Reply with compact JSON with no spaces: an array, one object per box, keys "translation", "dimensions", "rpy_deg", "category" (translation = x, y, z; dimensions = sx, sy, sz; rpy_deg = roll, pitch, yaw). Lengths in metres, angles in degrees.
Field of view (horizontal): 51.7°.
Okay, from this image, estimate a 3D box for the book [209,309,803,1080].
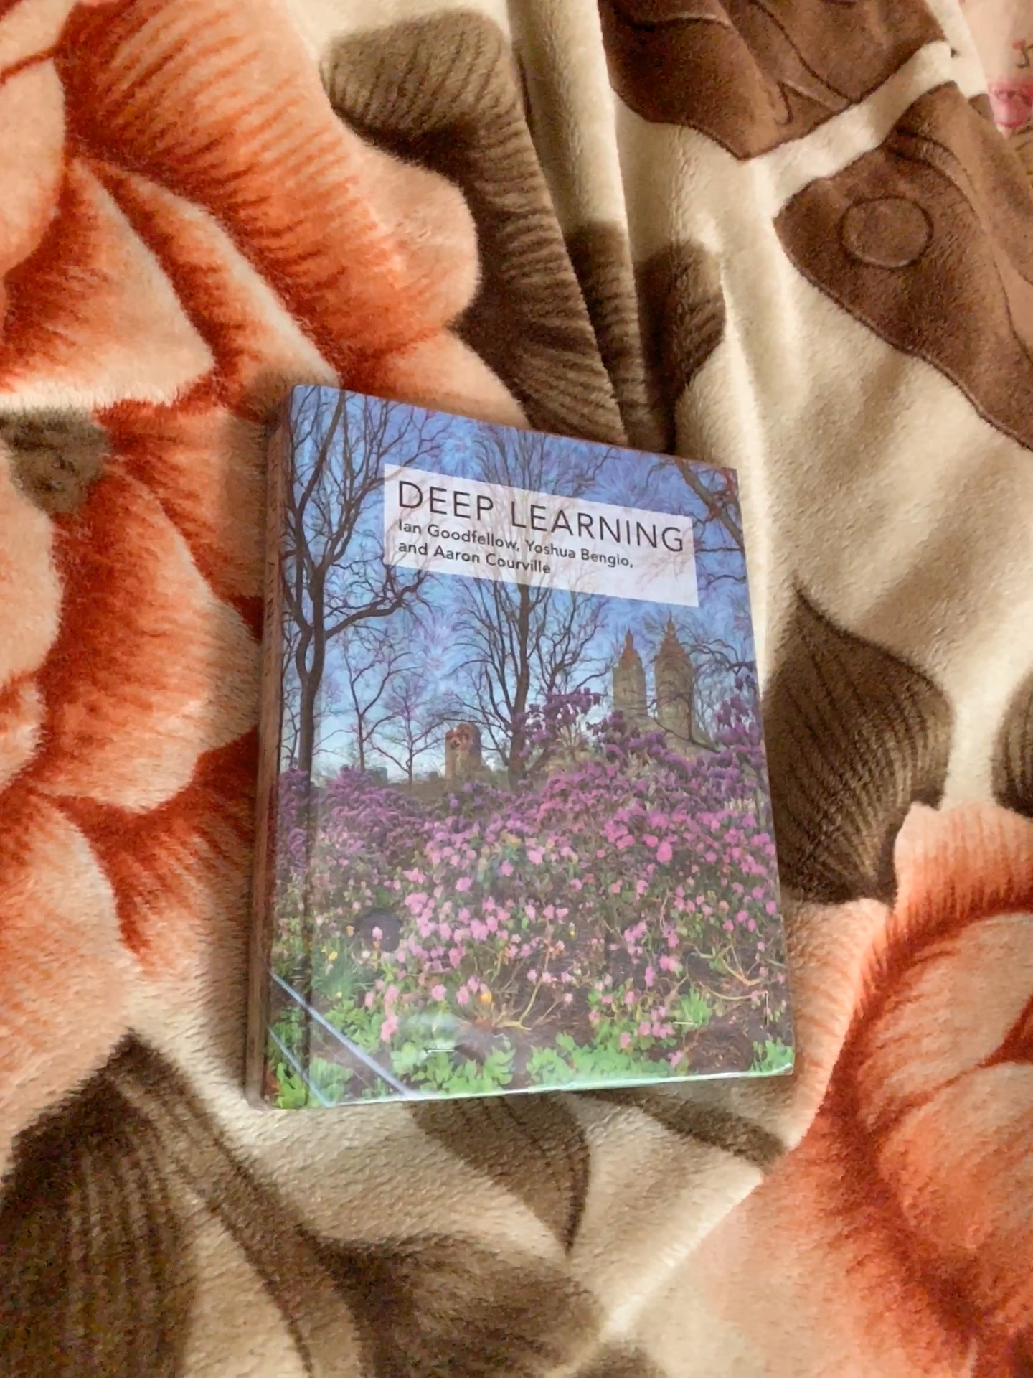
[{"translation":[0.002,0.002,0.403],"dimensions":[0.211,0.030,0.261],"rpy_deg":[6,72,-25],"category":"book"}]
